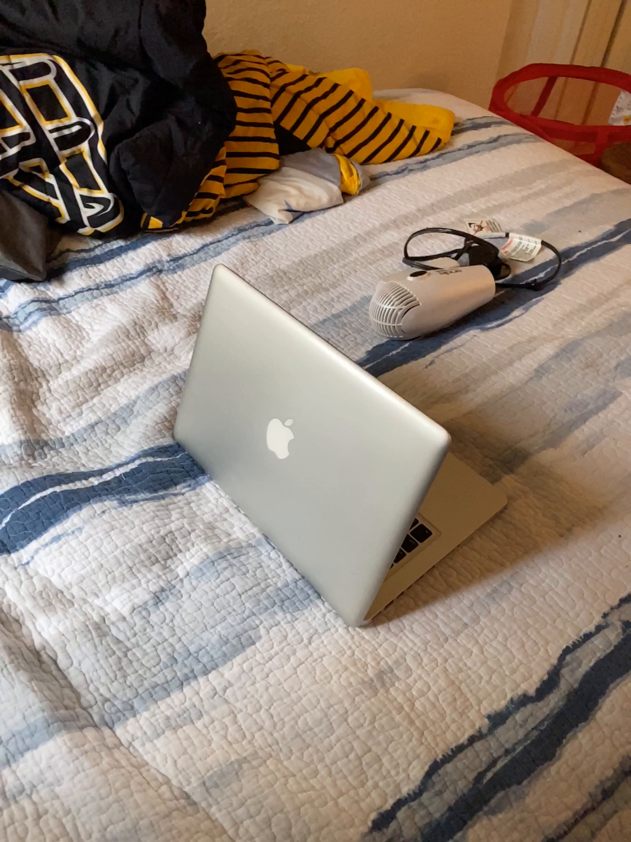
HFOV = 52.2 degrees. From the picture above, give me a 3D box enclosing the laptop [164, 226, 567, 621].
[{"bbox_3d":[0.032,-0.015,0.650,0.215,0.188,0.301,-30,54,-26],"label":"laptop"}]
